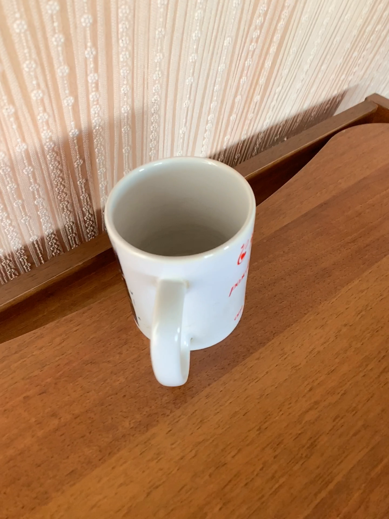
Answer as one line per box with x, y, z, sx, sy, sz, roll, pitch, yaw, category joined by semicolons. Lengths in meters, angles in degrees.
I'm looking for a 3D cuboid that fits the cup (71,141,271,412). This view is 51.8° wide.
-0.002;0.010;0.243;0.082;0.105;0.118;5;50;7;cup
